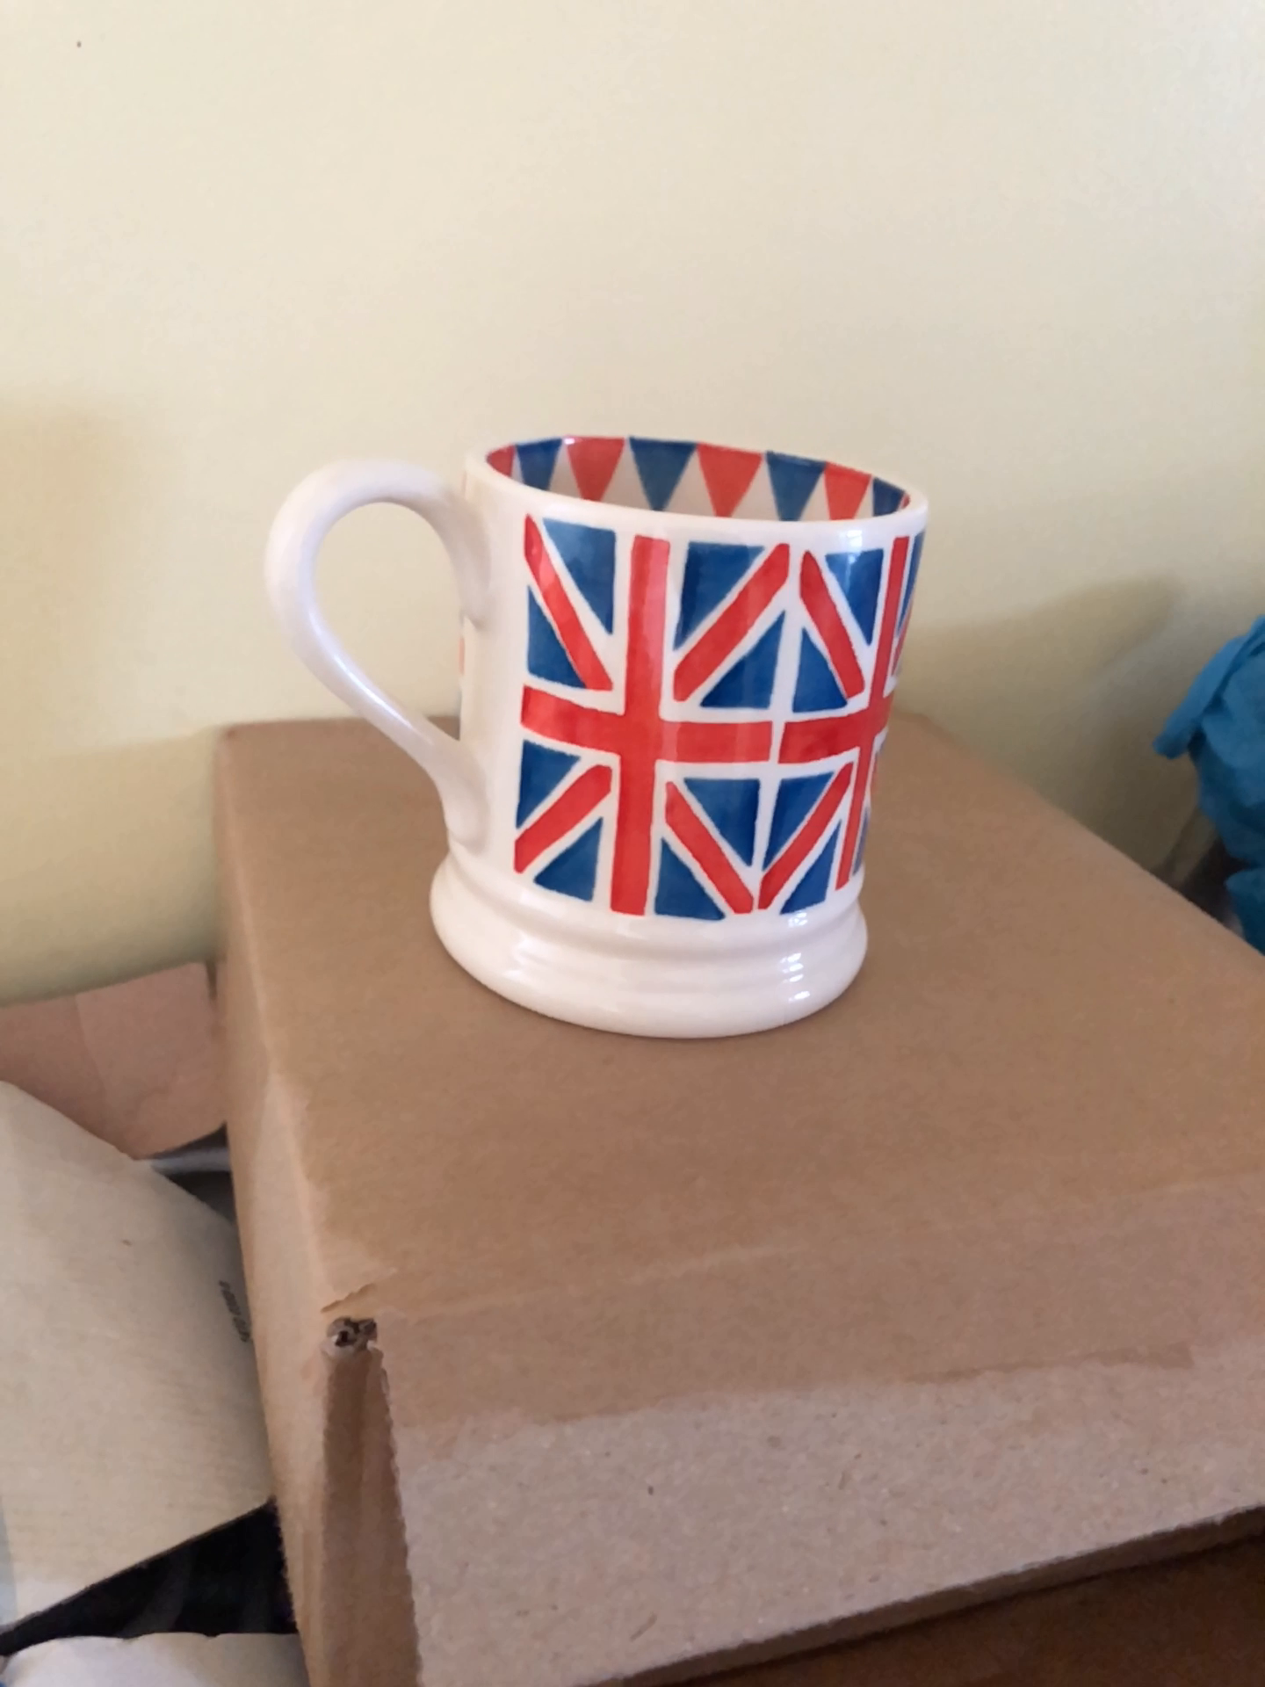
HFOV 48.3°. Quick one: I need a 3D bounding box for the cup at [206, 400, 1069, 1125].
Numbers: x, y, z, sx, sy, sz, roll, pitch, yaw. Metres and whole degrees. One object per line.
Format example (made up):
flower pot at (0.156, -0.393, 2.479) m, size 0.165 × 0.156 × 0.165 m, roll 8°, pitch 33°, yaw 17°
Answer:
cup at (-0.009, -0.026, 0.274) m, size 0.130 × 0.099 × 0.100 m, roll -5°, pitch 27°, yaw -17°
